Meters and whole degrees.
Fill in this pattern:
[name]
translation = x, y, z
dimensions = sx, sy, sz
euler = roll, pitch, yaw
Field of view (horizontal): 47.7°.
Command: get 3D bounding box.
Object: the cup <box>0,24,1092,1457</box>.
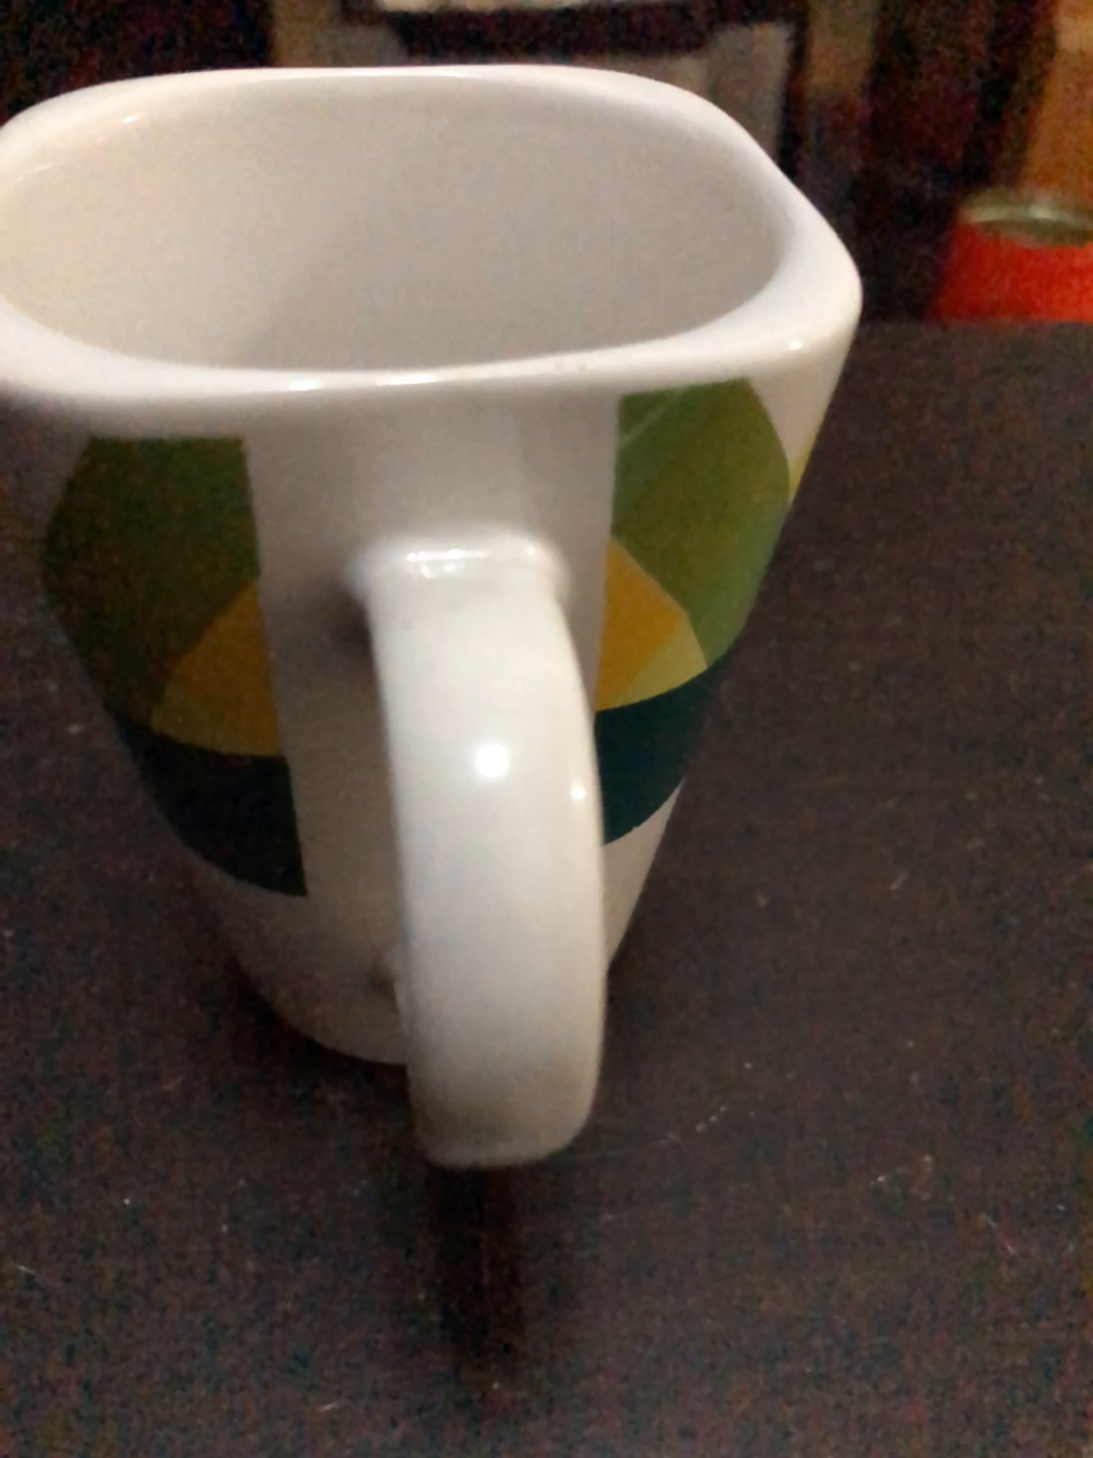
[cup]
translation = -0.007, -0.008, 0.128
dimensions = 0.080, 0.089, 0.111
euler = -7, 43, -11
